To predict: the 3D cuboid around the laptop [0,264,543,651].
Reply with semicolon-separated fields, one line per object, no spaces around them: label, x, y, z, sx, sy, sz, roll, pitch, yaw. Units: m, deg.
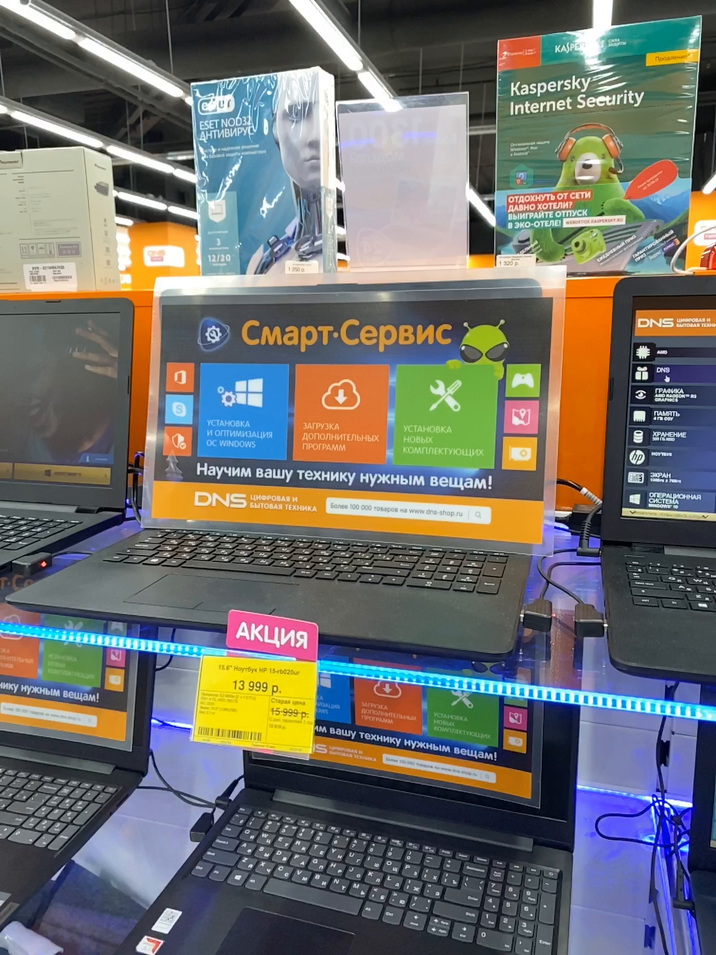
laptop;-0.051;-0.041;0.618;0.377;0.235;0.262;2;12;17
